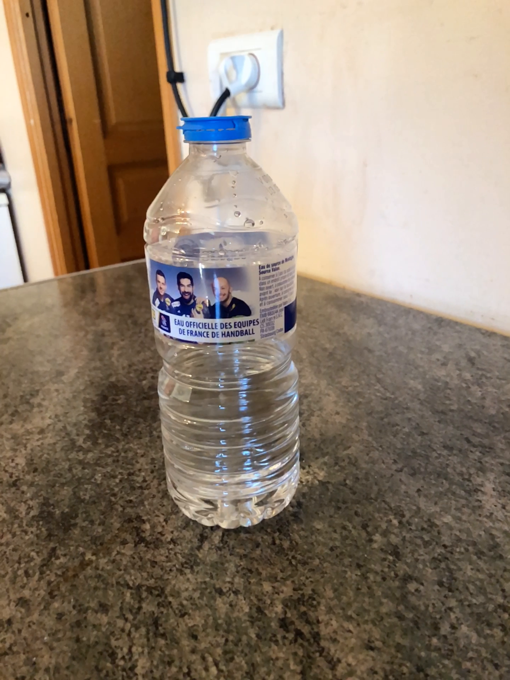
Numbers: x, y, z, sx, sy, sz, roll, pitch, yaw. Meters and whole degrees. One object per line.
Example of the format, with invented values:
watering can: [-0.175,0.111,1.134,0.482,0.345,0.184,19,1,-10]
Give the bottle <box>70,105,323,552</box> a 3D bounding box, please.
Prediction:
bottle: [-0.015,-0.008,0.245,0.070,0.169,0.070,-3,20,1]
